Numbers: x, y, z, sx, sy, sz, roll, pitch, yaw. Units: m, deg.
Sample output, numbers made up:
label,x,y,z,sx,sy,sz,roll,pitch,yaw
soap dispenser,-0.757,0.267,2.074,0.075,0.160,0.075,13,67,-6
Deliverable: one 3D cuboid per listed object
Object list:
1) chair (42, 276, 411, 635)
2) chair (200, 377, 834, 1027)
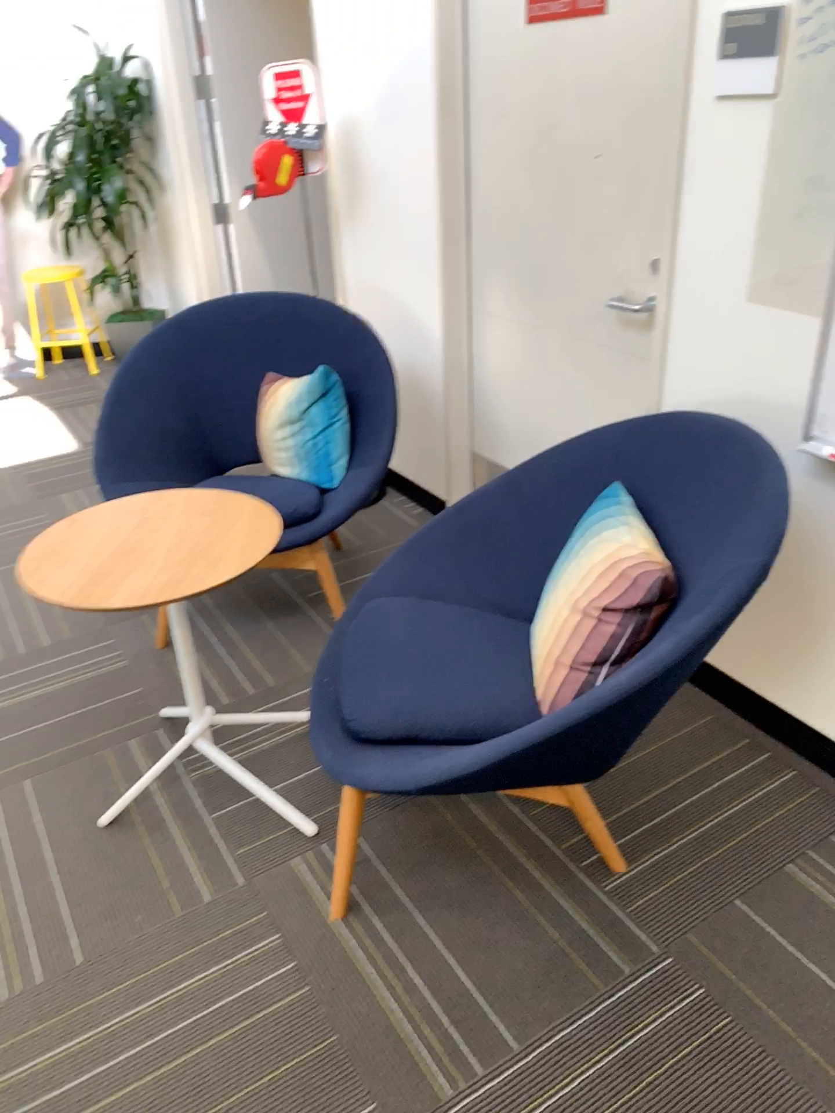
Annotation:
label,x,y,z,sx,sy,sz,roll,pitch,yaw
chair,-0.487,-0.350,2.679,0.790,0.835,0.844,1,29,7
chair,0.251,0.217,1.769,0.981,0.945,0.834,2,29,10
